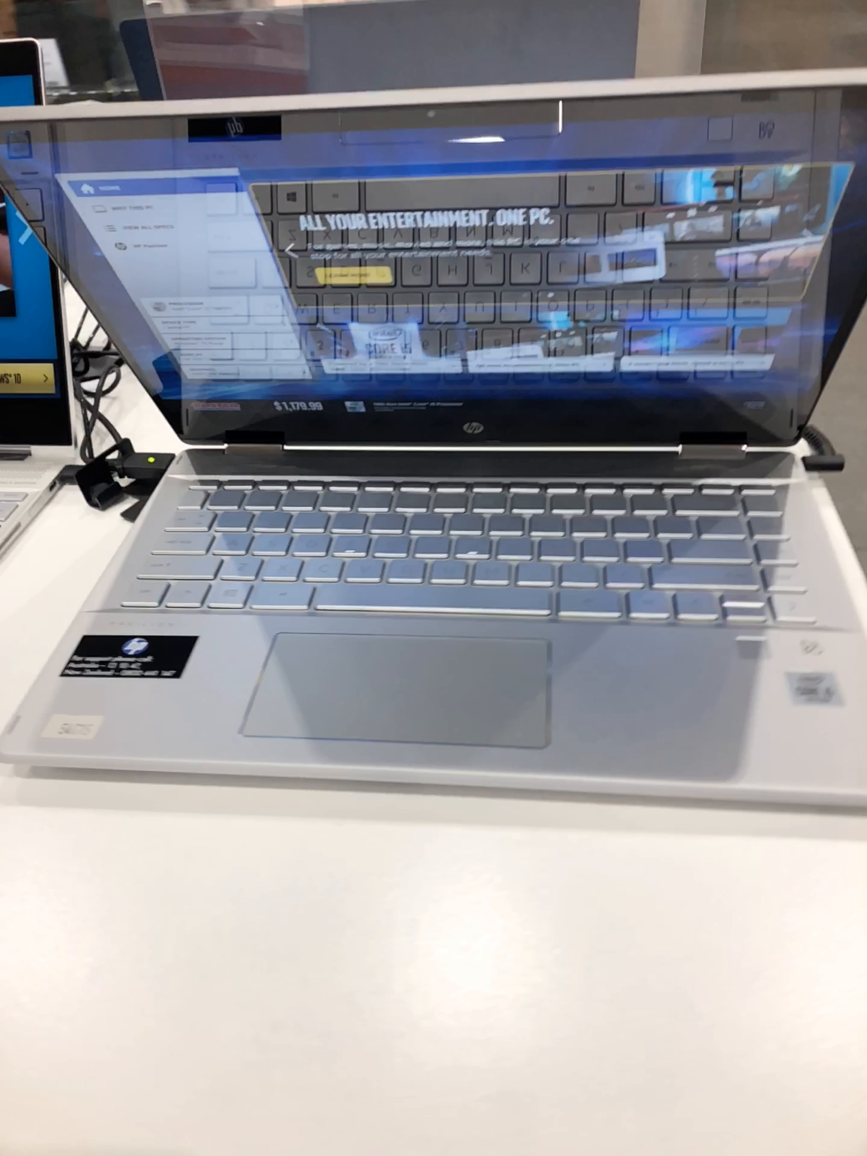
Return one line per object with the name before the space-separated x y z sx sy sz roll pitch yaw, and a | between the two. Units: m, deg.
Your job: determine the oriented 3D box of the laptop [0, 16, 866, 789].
laptop | 0.003 -0.073 0.350 0.317 0.185 0.207 1 37 8
